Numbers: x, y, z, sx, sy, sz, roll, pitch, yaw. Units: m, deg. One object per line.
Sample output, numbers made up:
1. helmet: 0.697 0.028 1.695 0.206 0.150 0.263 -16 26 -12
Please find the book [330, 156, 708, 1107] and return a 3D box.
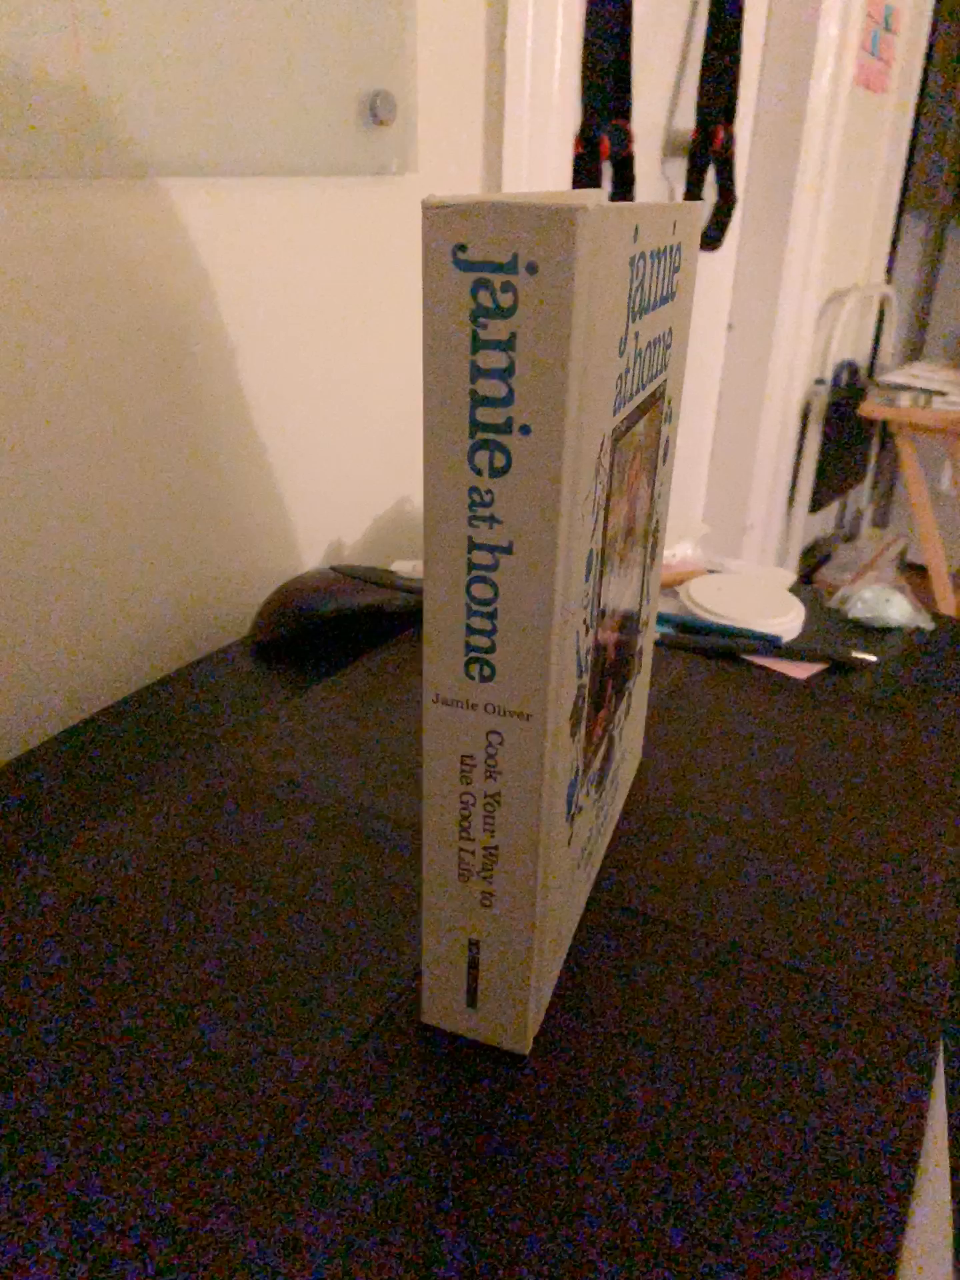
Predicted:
1. book: 0.023 -0.021 0.354 0.050 0.268 0.211 10 26 18
